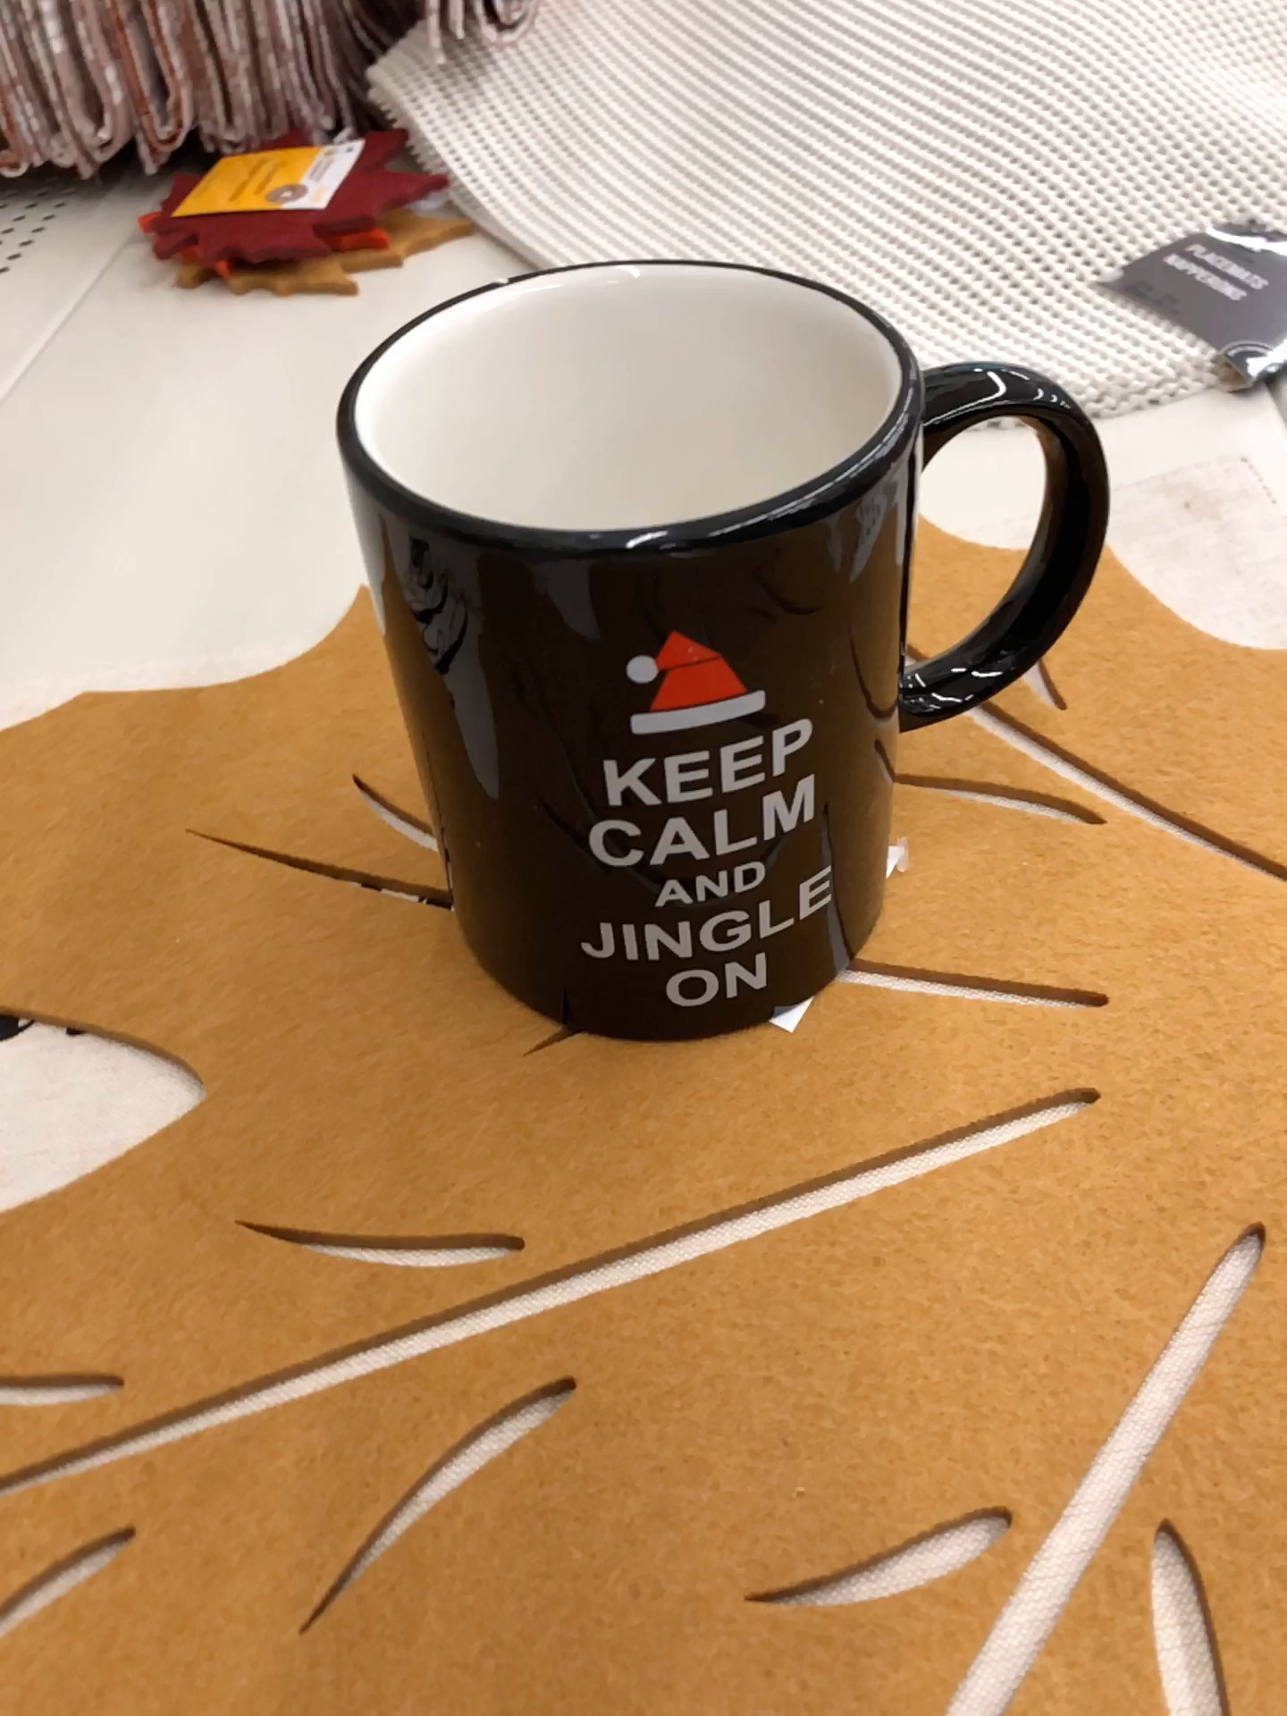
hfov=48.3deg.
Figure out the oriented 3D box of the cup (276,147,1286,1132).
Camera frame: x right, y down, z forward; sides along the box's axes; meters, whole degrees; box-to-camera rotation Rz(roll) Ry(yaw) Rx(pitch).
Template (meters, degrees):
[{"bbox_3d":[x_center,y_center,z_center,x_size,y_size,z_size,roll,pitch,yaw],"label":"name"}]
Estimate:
[{"bbox_3d":[0.022,-0.042,0.256,0.130,0.110,0.090,-21,47,-15],"label":"cup"}]
